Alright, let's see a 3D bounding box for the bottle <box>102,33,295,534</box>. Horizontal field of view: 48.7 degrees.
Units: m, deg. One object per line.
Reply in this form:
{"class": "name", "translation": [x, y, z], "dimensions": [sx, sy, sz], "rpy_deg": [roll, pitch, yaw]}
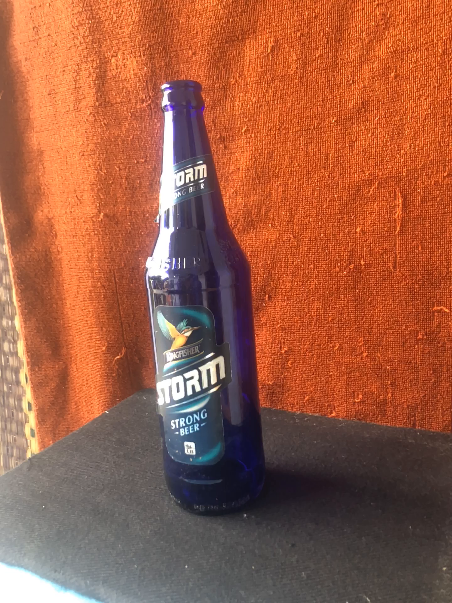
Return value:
{"class": "bottle", "translation": [-0.007, -0.005, 0.323], "dimensions": [0.080, 0.279, 0.080], "rpy_deg": [-3, 13, 1]}
